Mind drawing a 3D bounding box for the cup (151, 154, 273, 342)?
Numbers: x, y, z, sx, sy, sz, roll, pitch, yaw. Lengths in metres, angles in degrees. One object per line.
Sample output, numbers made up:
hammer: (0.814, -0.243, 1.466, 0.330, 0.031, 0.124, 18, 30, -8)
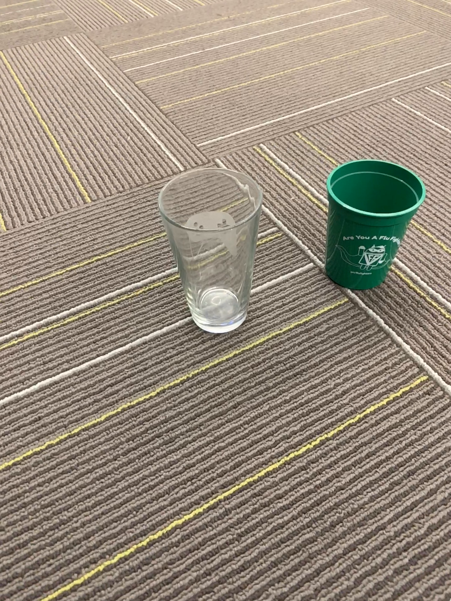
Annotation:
cup: (-0.011, -0.045, 0.430, 0.090, 0.139, 0.090, -2, 49, 2)

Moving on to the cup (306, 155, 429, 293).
cup: (0.141, -0.081, 0.490, 0.100, 0.100, 0.100, -2, 49, 2)
